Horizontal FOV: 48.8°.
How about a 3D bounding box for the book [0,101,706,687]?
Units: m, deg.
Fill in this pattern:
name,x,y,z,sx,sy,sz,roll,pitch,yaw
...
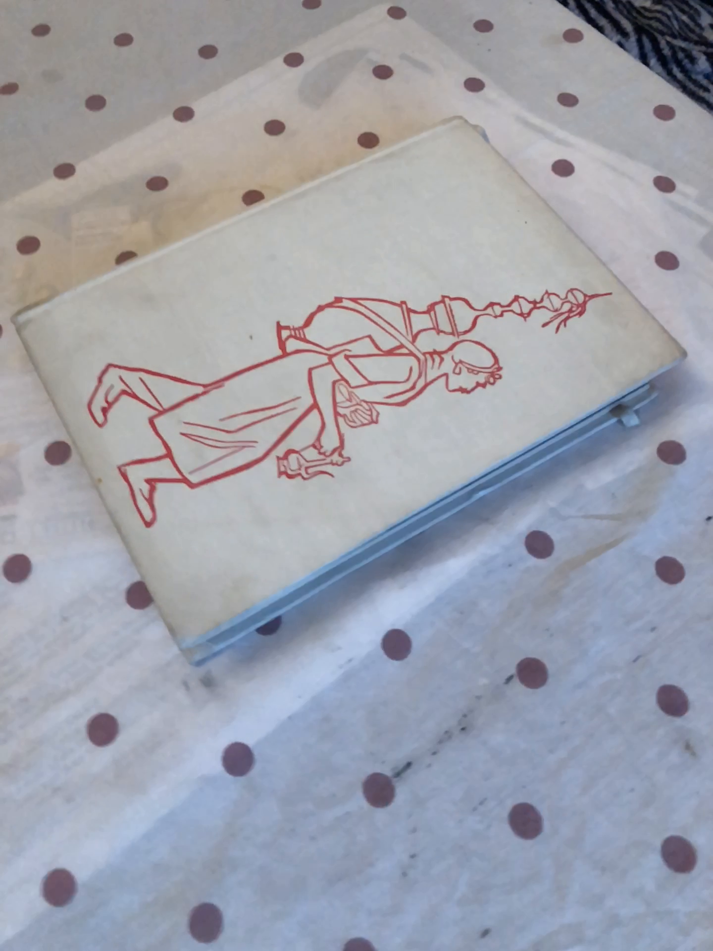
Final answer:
name,x,y,z,sx,sy,sz,roll,pitch,yaw
book,-0.005,-0.051,0.349,0.240,0.050,0.175,-29,67,-14
